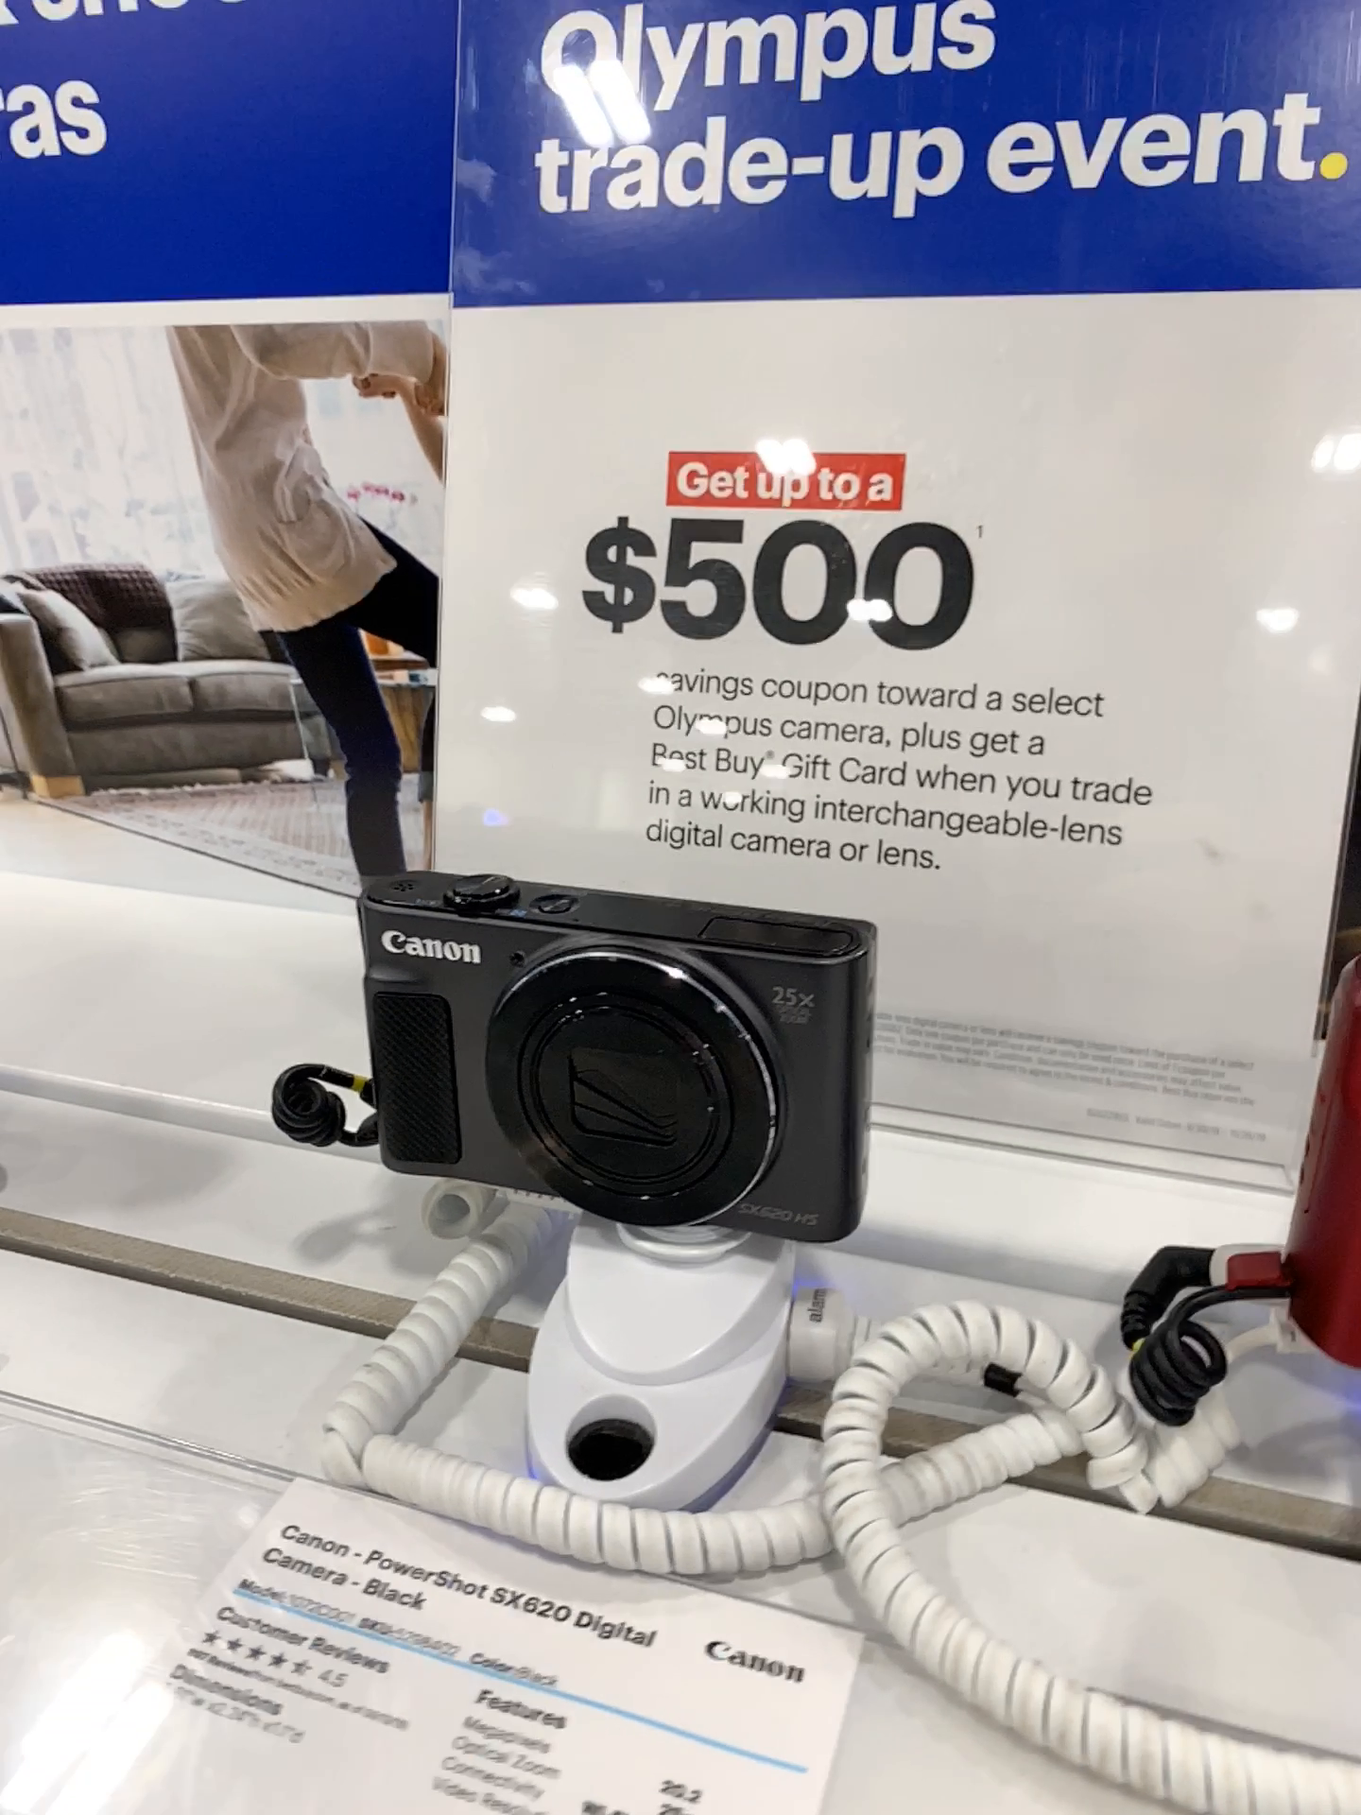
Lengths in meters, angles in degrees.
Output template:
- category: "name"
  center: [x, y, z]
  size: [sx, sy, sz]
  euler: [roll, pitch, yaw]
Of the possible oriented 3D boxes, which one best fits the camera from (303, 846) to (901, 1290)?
- category: "camera"
  center: [-0.013, 0.026, 0.257]
  size: [0.100, 0.060, 0.030]
  euler: [6, 23, 18]
